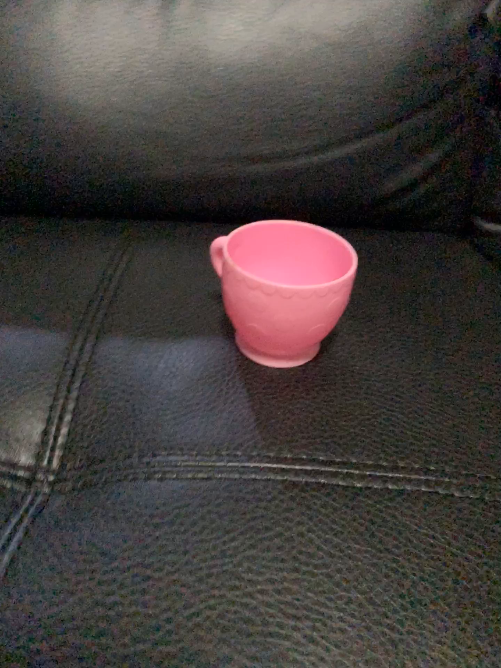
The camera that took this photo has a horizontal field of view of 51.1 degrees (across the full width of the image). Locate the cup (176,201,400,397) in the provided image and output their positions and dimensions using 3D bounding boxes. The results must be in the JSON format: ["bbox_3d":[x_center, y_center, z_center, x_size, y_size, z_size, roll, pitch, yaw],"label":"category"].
[{"bbox_3d":[0.016,-0.021,0.243,0.078,0.045,0.061,27,43,30],"label":"cup"}]
